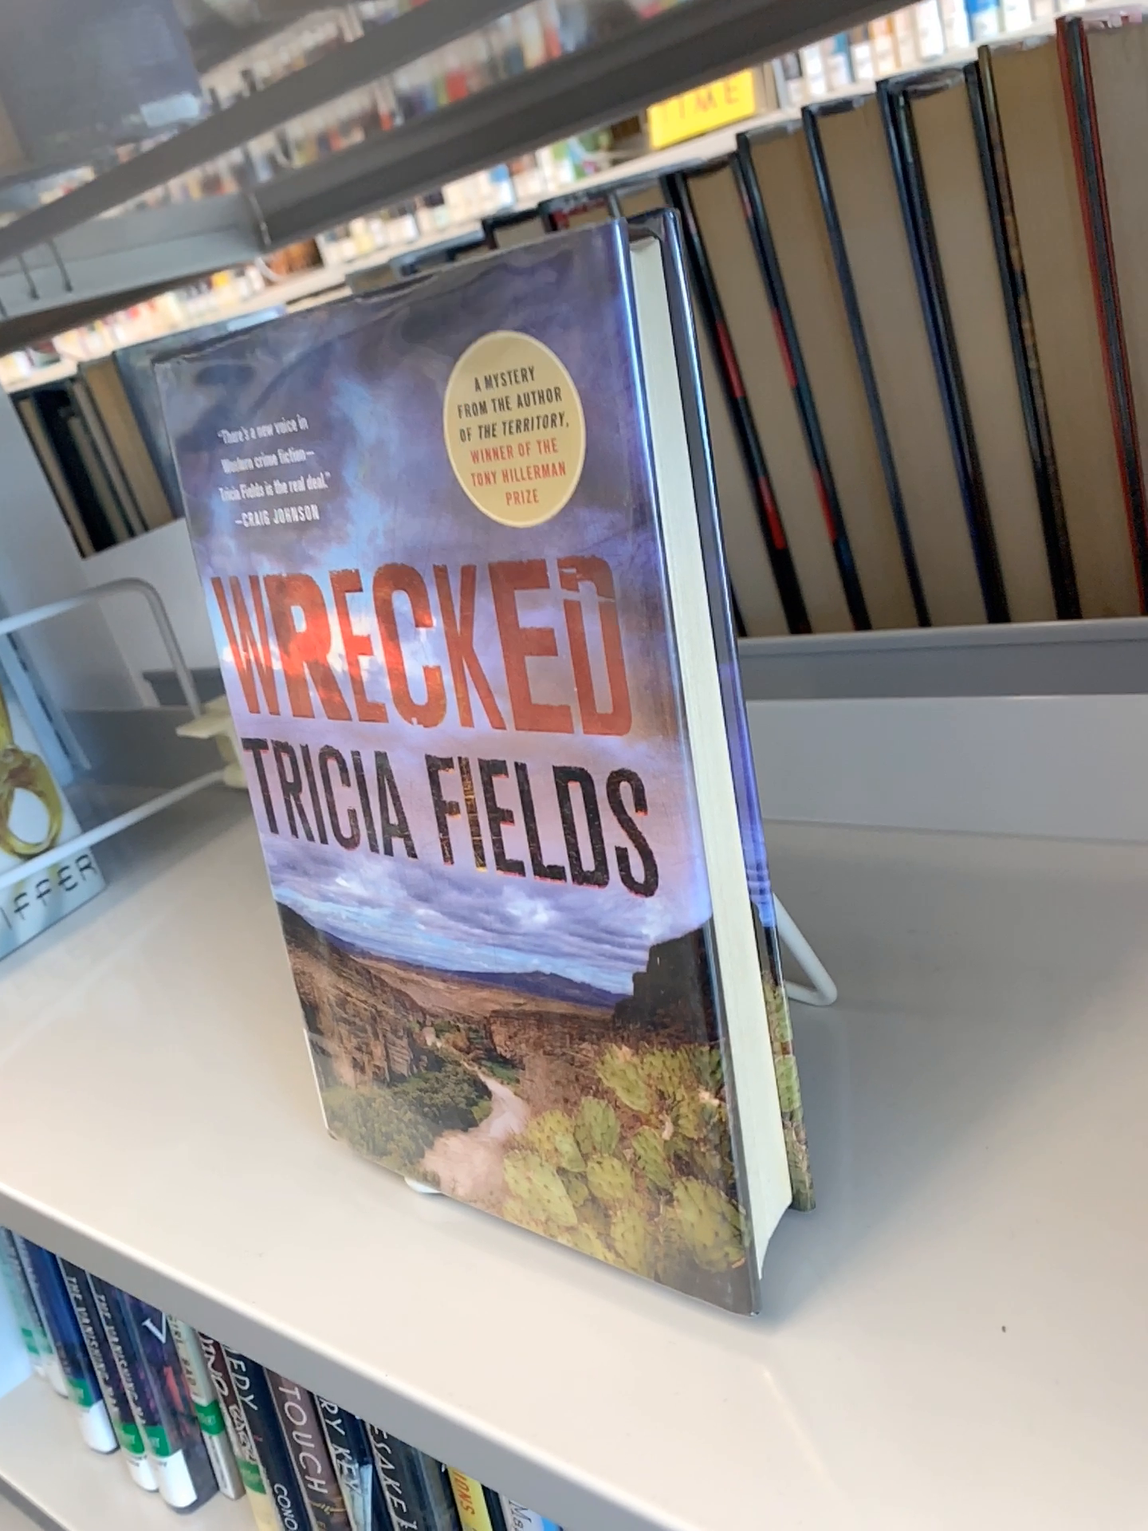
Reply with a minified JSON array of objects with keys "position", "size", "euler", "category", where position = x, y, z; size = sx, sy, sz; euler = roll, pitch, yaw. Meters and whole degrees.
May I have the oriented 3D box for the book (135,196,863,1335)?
[{"position":[-0.020,0.004,0.274],"size":[0.147,0.213,0.035],"euler":[3,19,41],"category":"book"}]
